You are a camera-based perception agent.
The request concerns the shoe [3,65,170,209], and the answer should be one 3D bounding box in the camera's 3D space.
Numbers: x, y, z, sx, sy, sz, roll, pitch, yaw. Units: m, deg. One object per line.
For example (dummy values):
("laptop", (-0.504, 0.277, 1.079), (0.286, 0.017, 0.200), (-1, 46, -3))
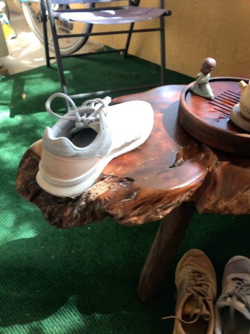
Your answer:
("shoe", (-0.043, -0.067, 0.454), (0.102, 0.091, 0.265), (29, 51, 27))
